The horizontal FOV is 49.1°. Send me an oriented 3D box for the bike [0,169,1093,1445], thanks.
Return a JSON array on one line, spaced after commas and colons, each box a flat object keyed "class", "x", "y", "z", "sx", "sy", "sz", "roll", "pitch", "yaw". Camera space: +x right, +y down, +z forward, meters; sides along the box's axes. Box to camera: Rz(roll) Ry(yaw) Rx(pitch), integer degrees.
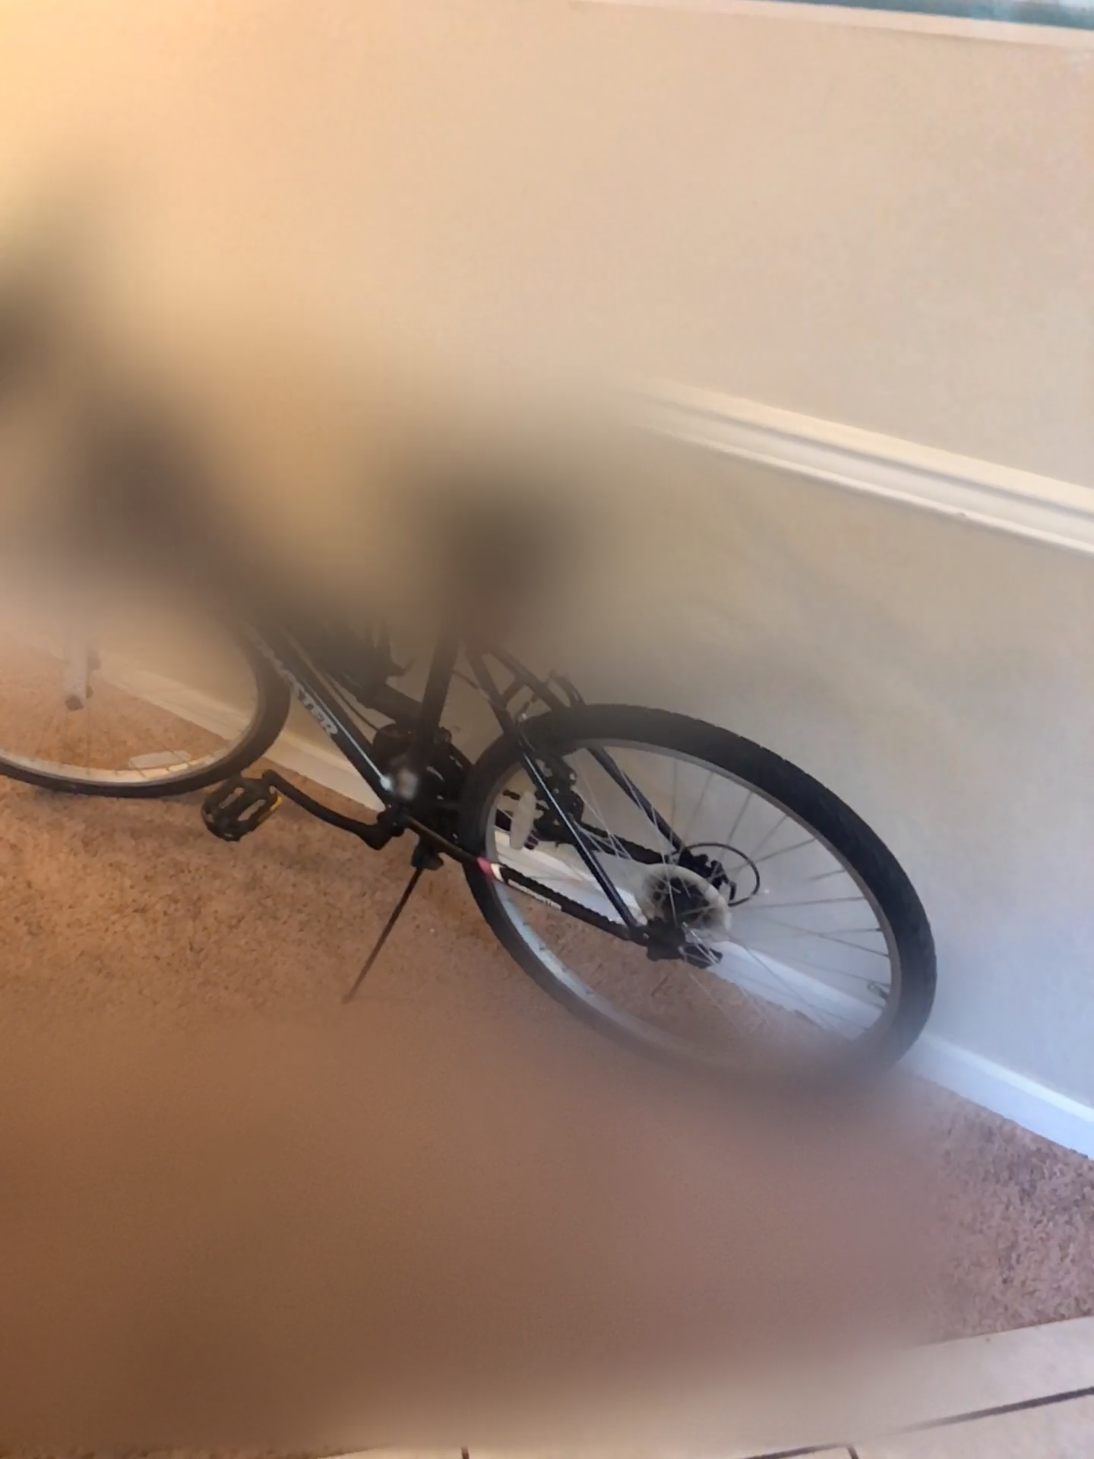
[{"class": "bike", "x": -0.359, "y": -0.014, "z": 1.724, "sx": 1.865, "sy": 1.177, "sz": 0.682, "roll": 16, "pitch": 34, "yaw": 17}]
